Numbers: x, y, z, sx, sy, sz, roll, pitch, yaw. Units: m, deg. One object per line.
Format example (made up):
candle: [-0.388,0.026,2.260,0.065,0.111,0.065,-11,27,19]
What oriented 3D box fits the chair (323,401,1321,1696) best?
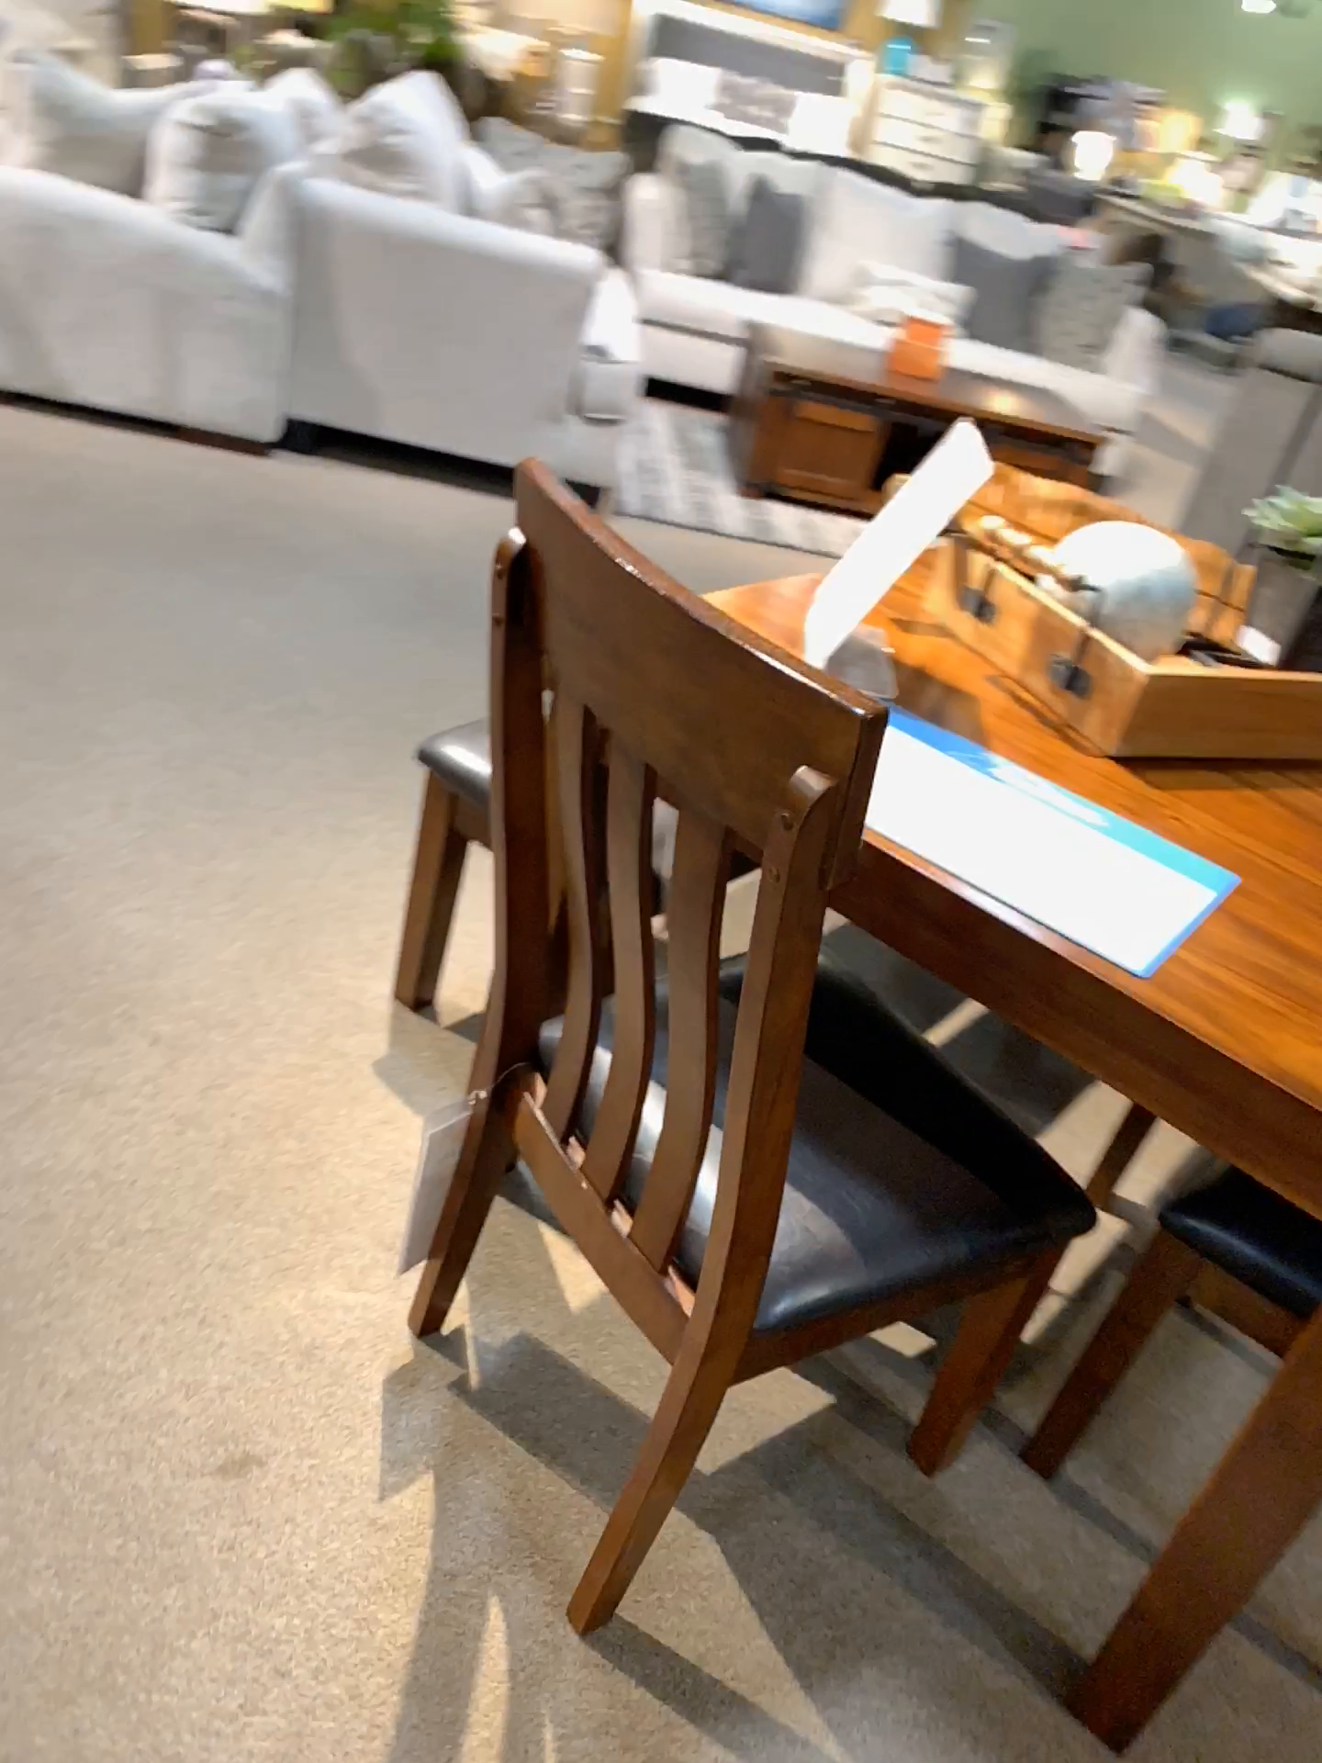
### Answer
chair: [0.094,0.123,1.214,0.540,0.890,0.533,-9,38,-34]

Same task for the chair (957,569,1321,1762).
chair: [0.796,0.258,1.303,0.530,0.890,0.593,33,35,27]
